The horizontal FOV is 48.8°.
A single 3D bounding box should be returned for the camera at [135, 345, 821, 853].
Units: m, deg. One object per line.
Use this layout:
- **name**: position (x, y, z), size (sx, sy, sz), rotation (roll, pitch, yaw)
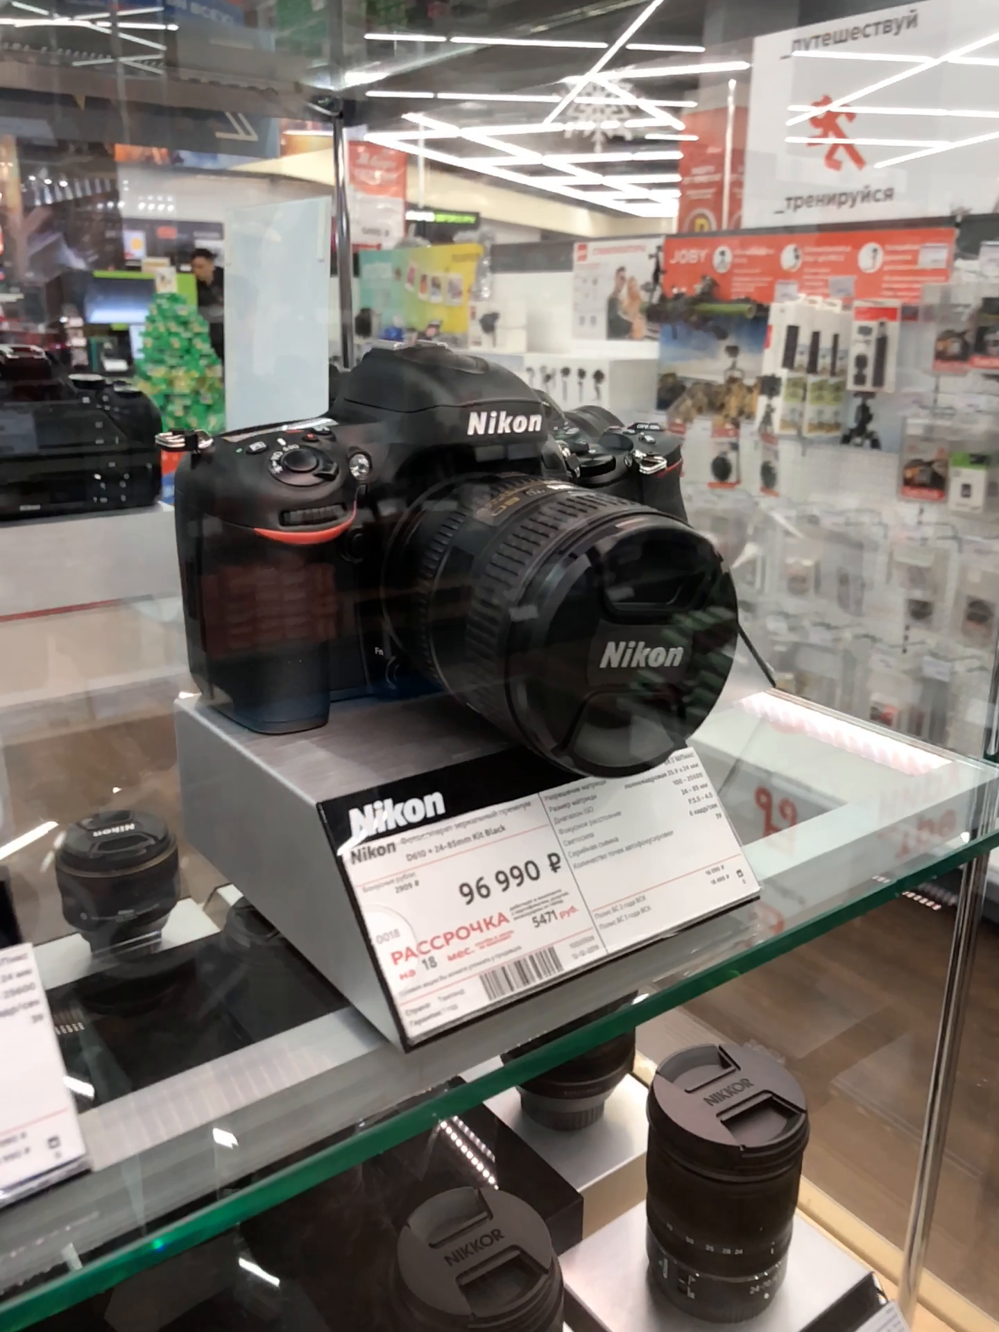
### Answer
- **camera**: position (-0.015, -0.040, 0.341), size (0.148, 0.110, 0.150), rotation (-9, 20, -29)
